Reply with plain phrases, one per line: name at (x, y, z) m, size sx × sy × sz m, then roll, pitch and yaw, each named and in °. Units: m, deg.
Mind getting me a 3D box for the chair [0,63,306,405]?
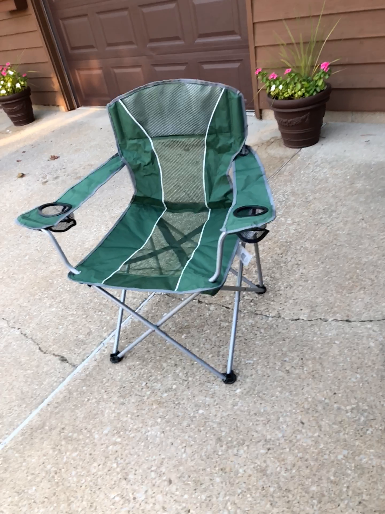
chair at (-0.070, -0.101, 1.538) m, size 0.821 × 0.907 × 0.641 m, roll 5°, pitch 36°, yaw 23°
